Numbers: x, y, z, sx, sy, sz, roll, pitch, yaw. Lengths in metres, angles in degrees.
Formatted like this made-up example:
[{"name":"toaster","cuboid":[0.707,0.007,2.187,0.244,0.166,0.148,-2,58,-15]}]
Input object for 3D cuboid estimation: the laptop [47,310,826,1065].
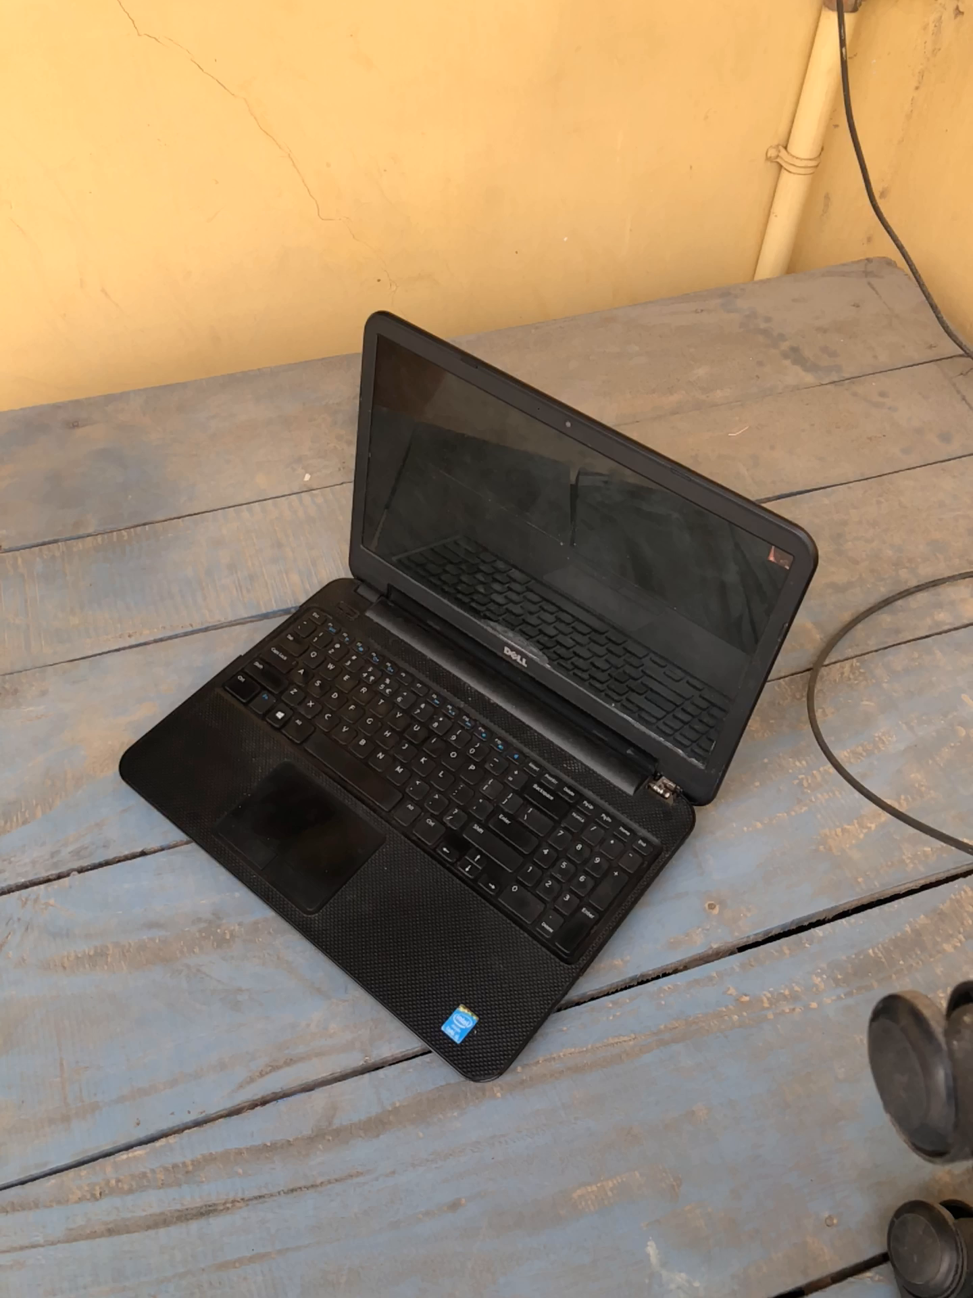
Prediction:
[{"name":"laptop","cuboid":[-0.029,0.005,0.702,0.332,0.214,0.307,33,58,24]}]
